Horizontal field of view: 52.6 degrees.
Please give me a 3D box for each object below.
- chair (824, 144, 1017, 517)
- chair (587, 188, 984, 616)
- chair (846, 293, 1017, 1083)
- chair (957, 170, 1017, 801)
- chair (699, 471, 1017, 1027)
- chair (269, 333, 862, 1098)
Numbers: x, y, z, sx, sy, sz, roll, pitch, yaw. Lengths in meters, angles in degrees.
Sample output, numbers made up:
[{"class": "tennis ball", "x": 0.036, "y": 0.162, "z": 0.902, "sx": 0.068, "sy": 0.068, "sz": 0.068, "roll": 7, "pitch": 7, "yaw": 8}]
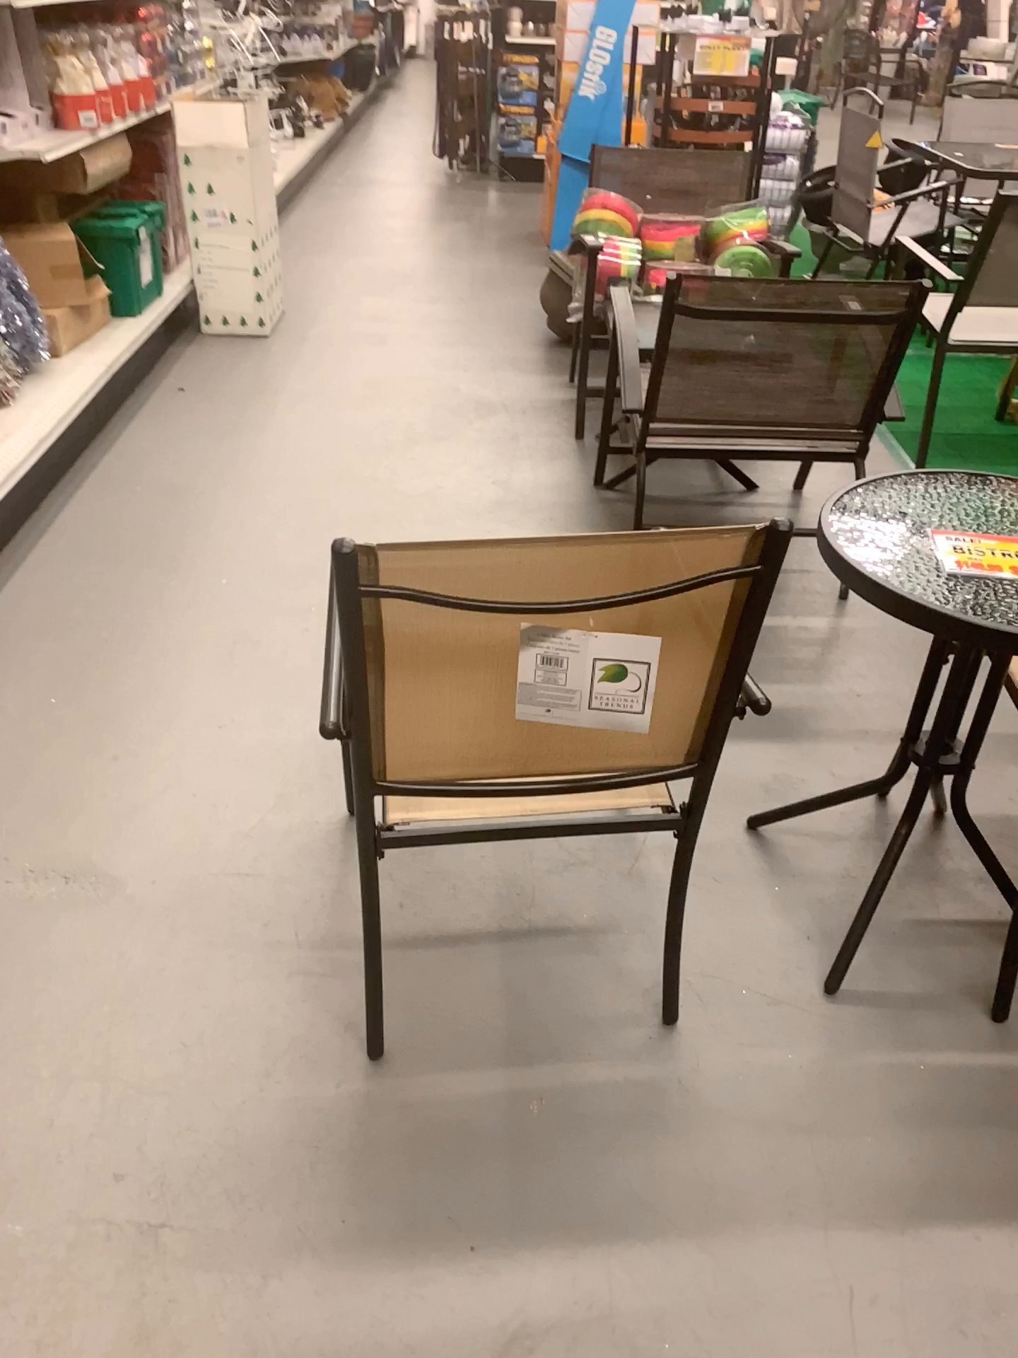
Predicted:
[{"class": "chair", "x": 1.572, "y": -1.149, "z": 3.346, "sx": 0.674, "sy": 0.922, "sz": 0.890, "roll": 1, "pitch": 34, "yaw": -2}, {"class": "chair", "x": 0.603, "y": -0.744, "z": 2.662, "sx": 0.674, "sy": 0.802, "sz": 0.890, "roll": 1, "pitch": 34, "yaw": -2}, {"class": "chair", "x": 1.000, "y": 0.007, "z": 1.511, "sx": 0.614, "sy": 0.922, "sz": 0.679, "roll": 1, "pitch": 34, "yaw": -3}, {"class": "chair", "x": 1.689, "y": -0.458, "z": 2.216, "sx": 0.804, "sy": 0.981, "sz": 1.031, "roll": 1, "pitch": 34, "yaw": -2}, {"class": "chair", "x": 0.647, "y": 0.093, "z": 1.573, "sx": 0.524, "sy": 0.633, "sz": 0.548, "roll": 0, "pitch": 34, "yaw": -3}, {"class": "chair", "x": 0.008, "y": 0.033, "z": 1.474, "sx": 0.574, "sy": 0.862, "sz": 0.619, "roll": -3, "pitch": 34, "yaw": -7}]
